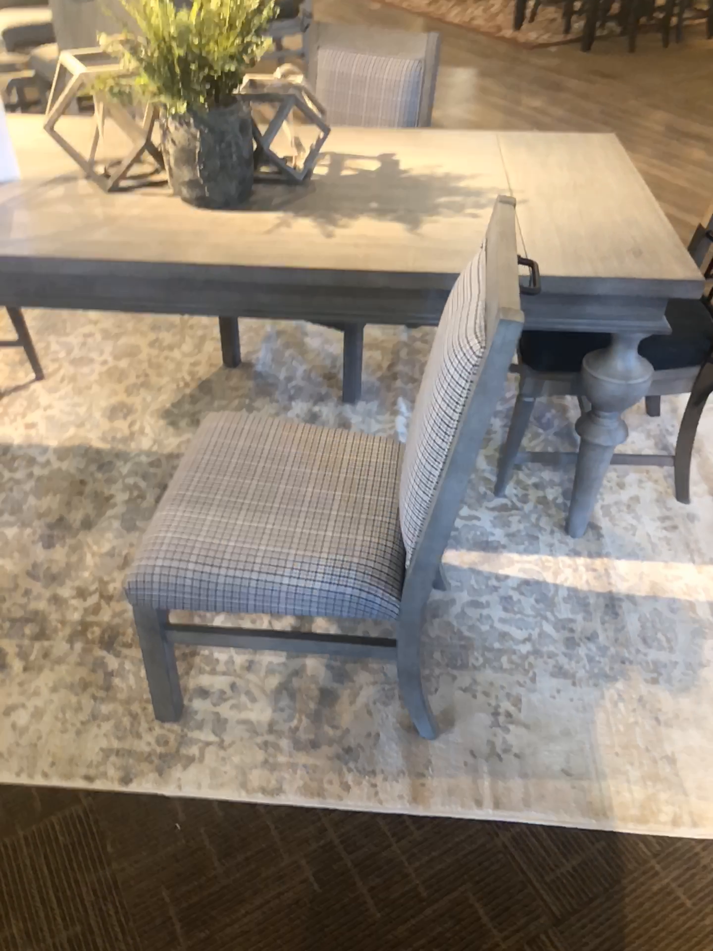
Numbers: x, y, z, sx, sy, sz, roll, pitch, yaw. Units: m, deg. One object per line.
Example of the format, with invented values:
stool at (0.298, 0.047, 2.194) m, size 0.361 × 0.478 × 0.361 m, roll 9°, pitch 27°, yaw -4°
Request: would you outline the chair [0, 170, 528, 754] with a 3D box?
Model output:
chair at (-0.097, -0.007, 1.407) m, size 0.660 × 0.866 × 0.512 m, roll 5°, pitch 40°, yaw 6°
